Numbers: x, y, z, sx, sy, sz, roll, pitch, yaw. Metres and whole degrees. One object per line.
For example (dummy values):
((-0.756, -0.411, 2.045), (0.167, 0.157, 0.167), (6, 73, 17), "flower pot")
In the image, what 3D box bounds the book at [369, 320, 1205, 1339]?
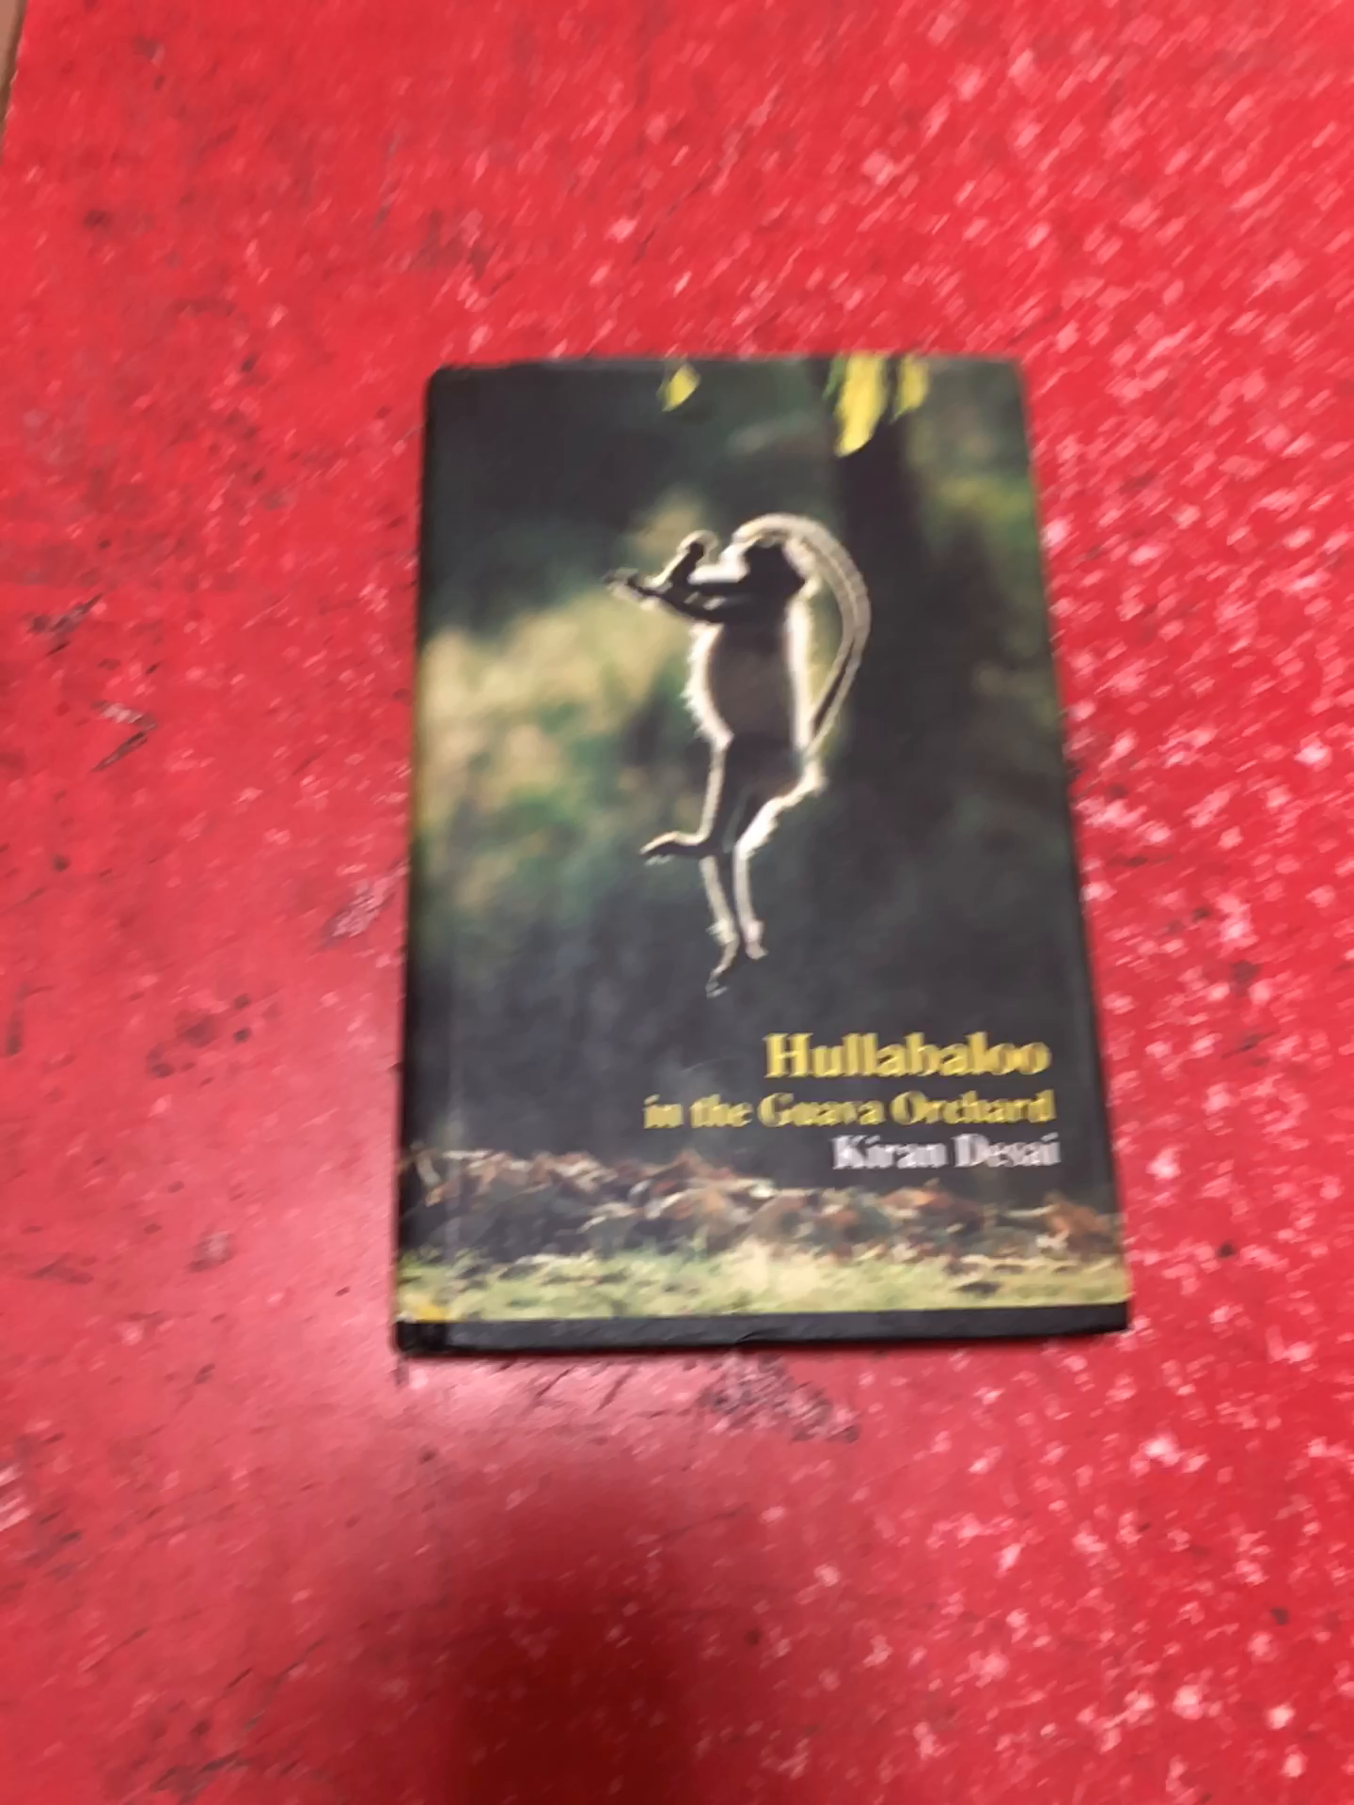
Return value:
((0.018, -0.025, 0.339), (0.160, 0.030, 0.230), (-1, 72, -2), "book")
